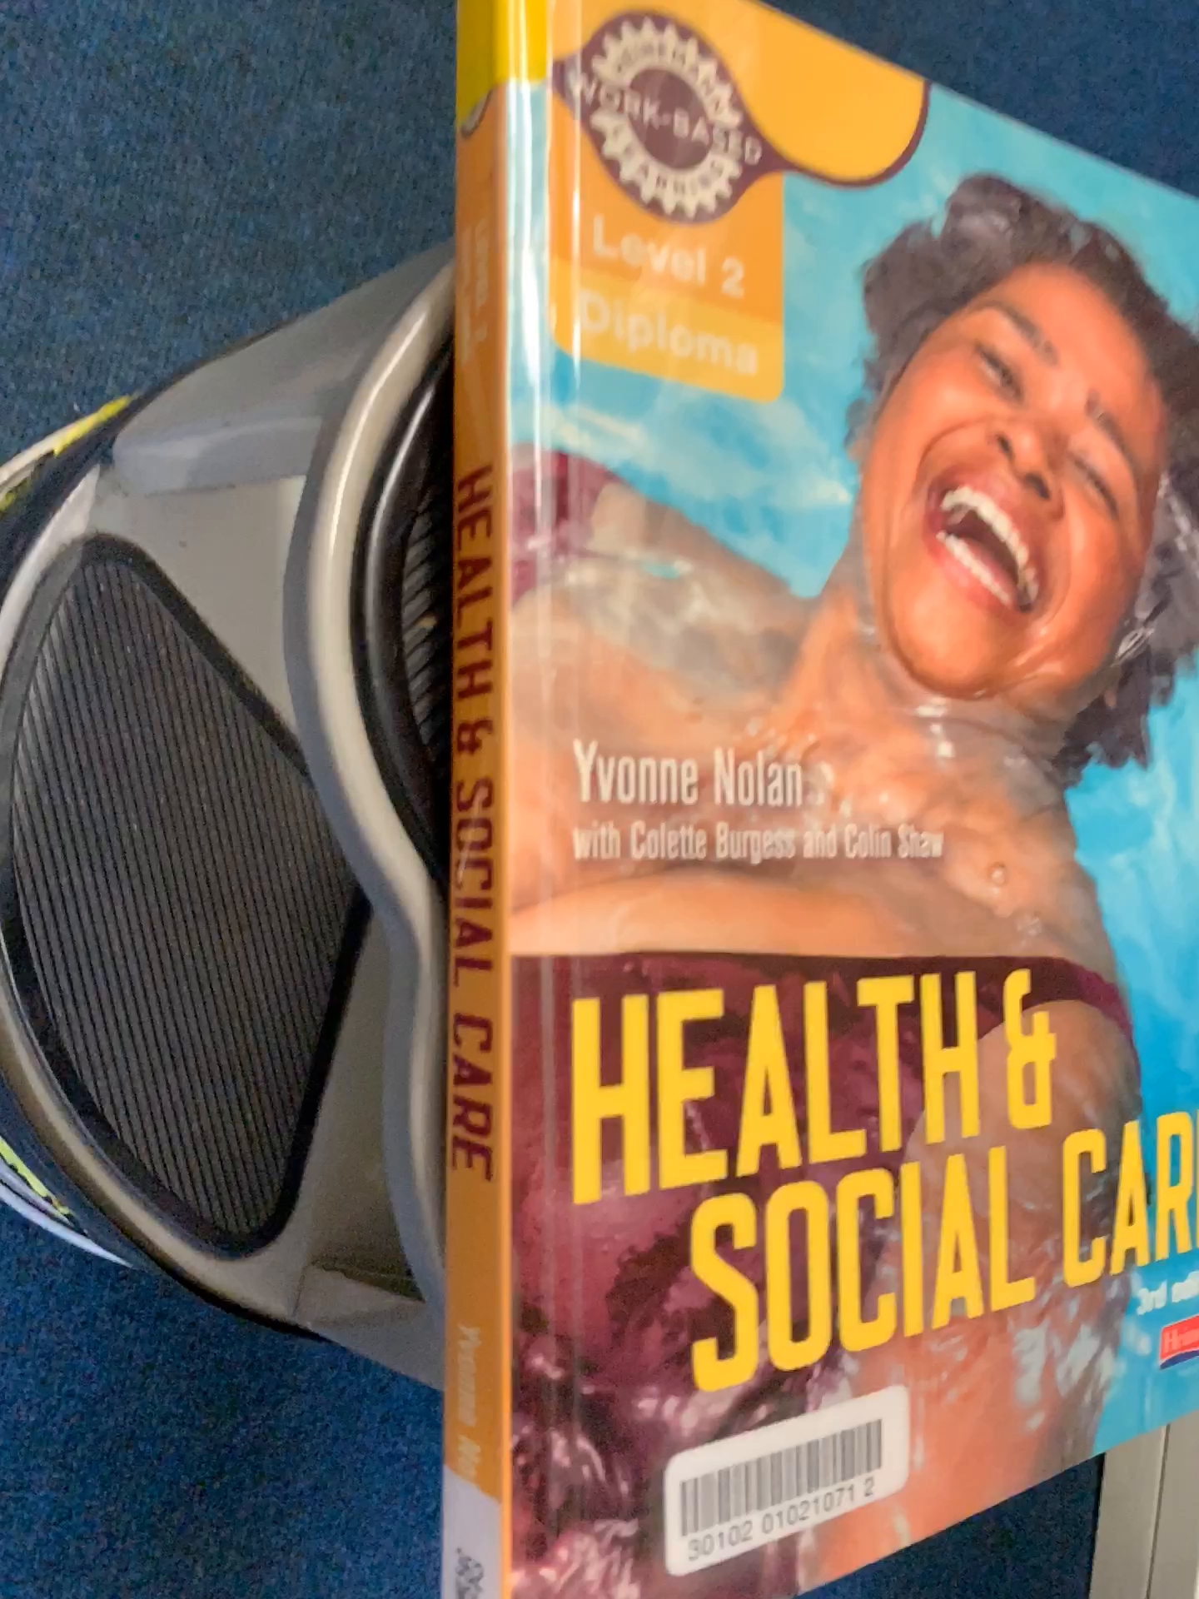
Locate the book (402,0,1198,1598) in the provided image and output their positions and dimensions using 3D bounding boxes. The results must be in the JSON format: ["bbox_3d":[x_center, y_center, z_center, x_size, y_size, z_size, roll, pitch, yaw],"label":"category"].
[{"bbox_3d":[0.064,-0.001,0.226,0.201,0.030,0.270,1,88,-32],"label":"book"}]
